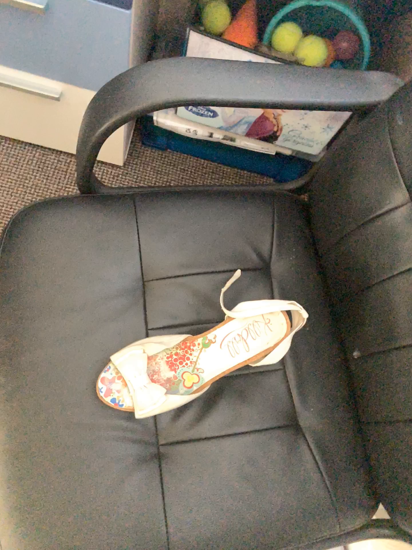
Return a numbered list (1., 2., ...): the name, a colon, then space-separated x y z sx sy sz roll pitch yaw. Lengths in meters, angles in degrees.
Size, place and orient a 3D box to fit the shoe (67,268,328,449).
1. shoe: -0.019 0.100 0.502 0.240 0.189 0.100 -17 77 -16
